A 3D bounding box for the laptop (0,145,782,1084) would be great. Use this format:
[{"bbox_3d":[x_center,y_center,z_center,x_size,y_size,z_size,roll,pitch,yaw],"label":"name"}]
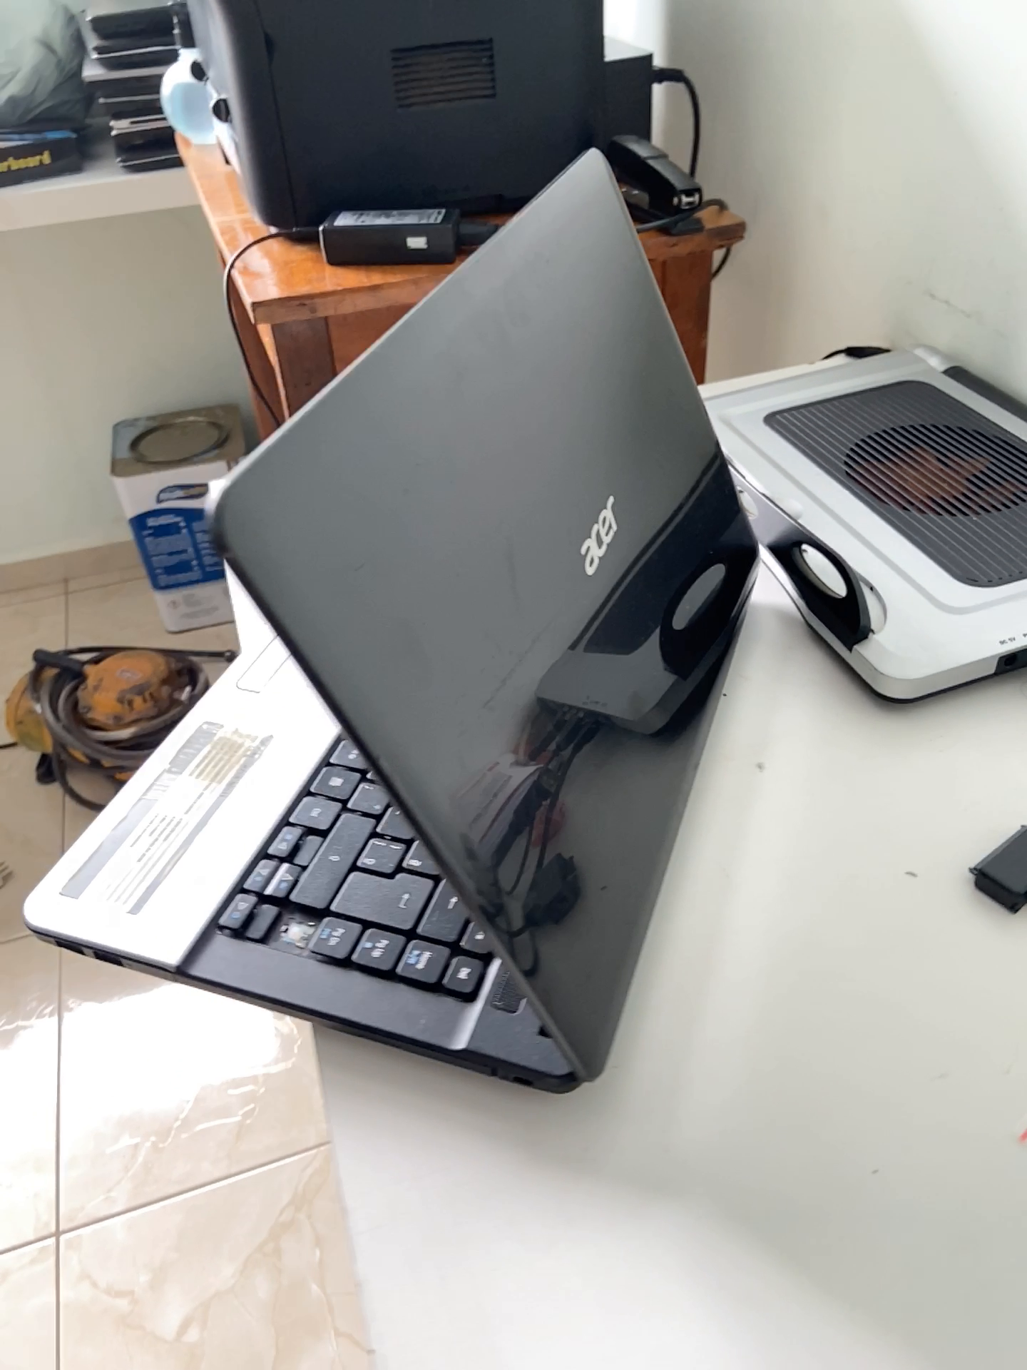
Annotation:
[{"bbox_3d":[-0.043,-0.068,0.448,0.238,0.211,0.328,10,42,17],"label":"laptop"}]
